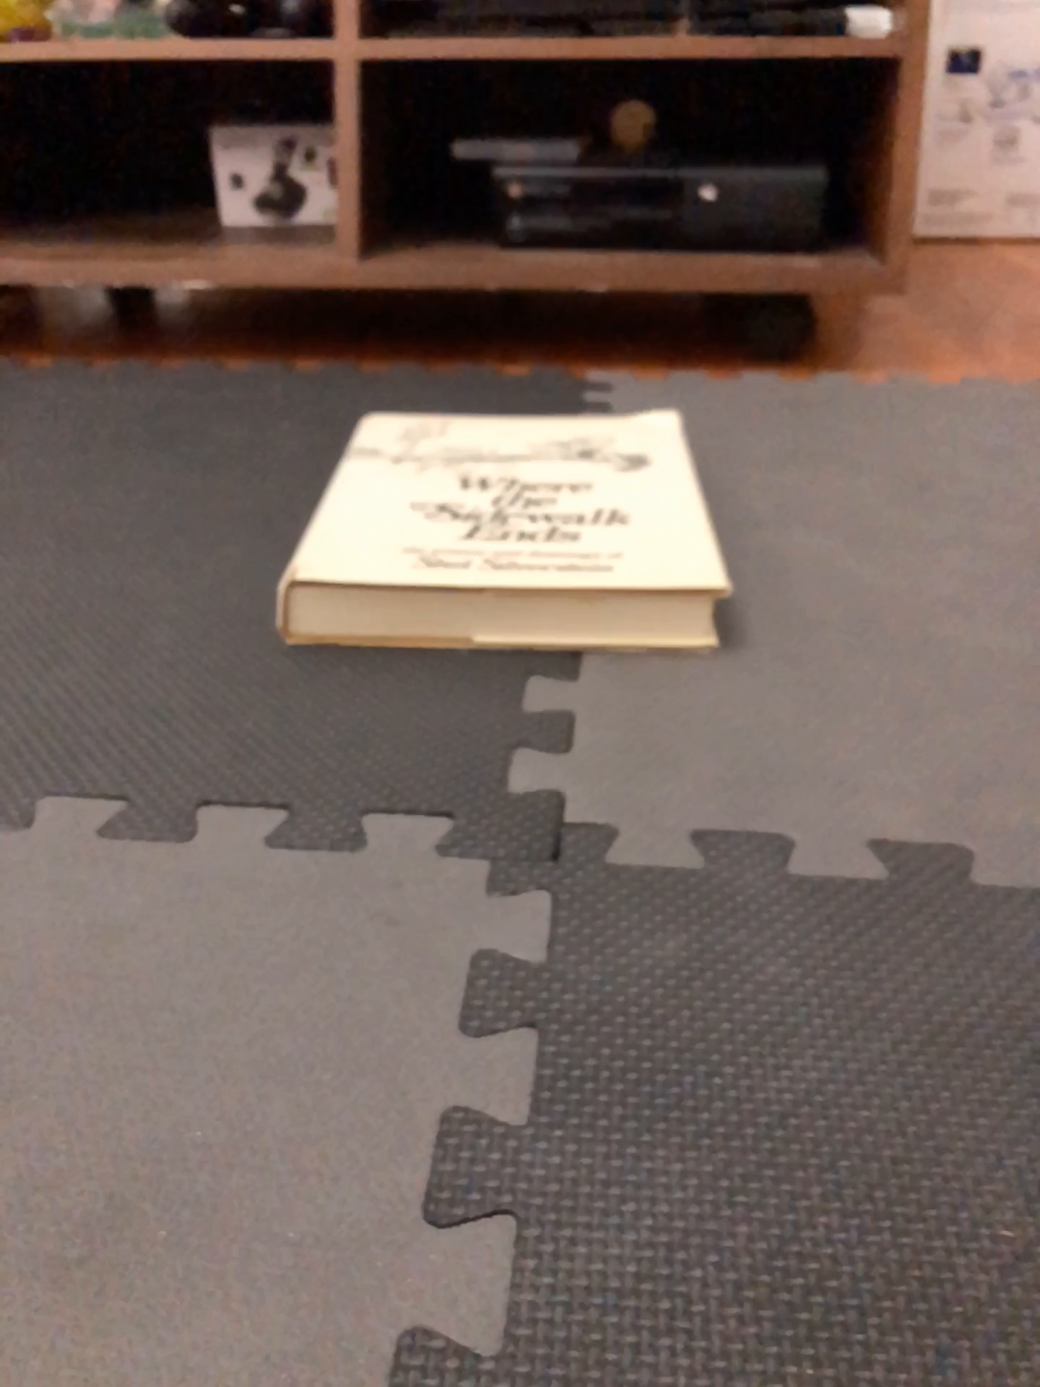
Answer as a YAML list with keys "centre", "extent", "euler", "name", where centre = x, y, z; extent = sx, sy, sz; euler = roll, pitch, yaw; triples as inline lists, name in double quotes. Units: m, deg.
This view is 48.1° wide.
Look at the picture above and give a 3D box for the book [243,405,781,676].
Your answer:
- centre: [0.002, -0.088, 0.563]
  extent: [0.200, 0.030, 0.282]
  euler: [1, 28, 2]
  name: "book"
